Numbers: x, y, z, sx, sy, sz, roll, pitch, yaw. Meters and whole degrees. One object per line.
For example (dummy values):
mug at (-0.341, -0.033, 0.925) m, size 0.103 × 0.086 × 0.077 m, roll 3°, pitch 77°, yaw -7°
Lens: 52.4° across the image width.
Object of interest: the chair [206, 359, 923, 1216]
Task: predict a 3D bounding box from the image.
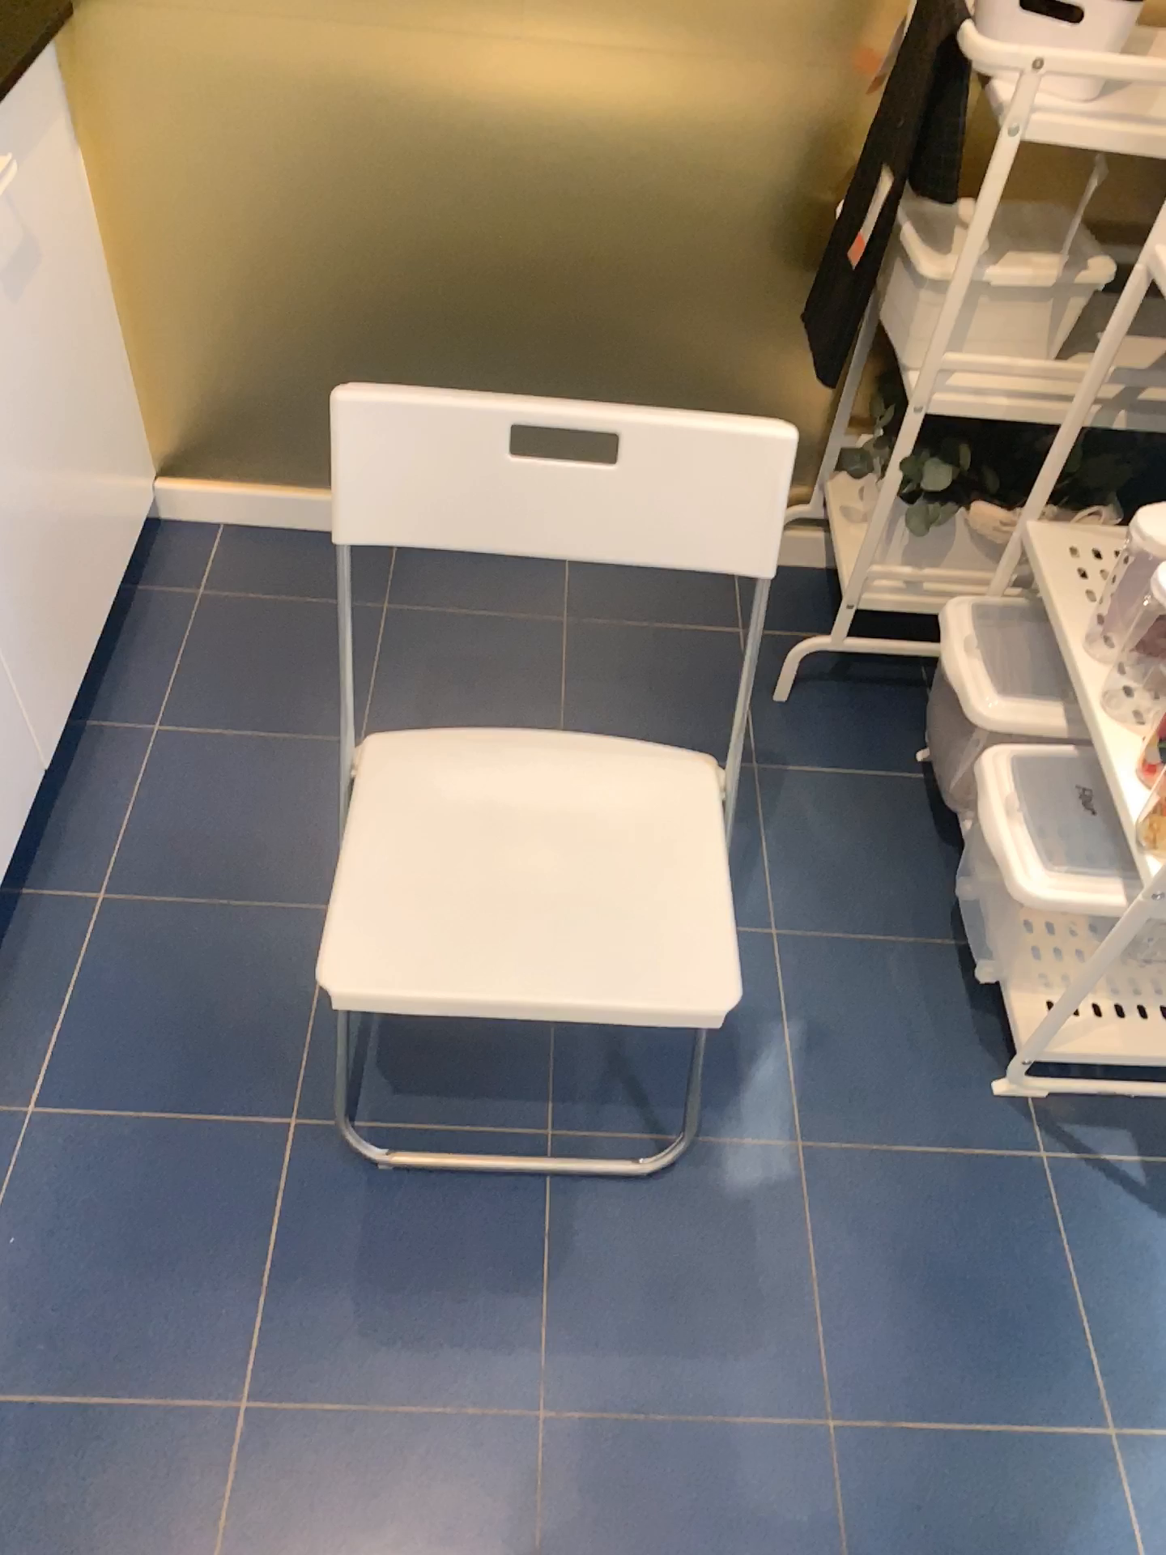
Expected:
chair at (-0.037, 0.067, 1.146) m, size 0.440 × 0.748 × 0.421 m, roll 4°, pitch 49°, yaw -3°
